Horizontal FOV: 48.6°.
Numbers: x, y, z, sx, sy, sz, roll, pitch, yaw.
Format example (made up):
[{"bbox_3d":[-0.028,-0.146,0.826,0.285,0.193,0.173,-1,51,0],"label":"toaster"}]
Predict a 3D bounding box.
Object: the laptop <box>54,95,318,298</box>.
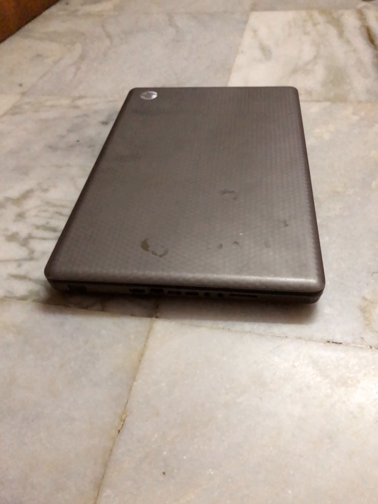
[{"bbox_3d":[0.016,-0.102,0.518,0.248,0.002,0.380,2,47,8],"label":"laptop"}]
